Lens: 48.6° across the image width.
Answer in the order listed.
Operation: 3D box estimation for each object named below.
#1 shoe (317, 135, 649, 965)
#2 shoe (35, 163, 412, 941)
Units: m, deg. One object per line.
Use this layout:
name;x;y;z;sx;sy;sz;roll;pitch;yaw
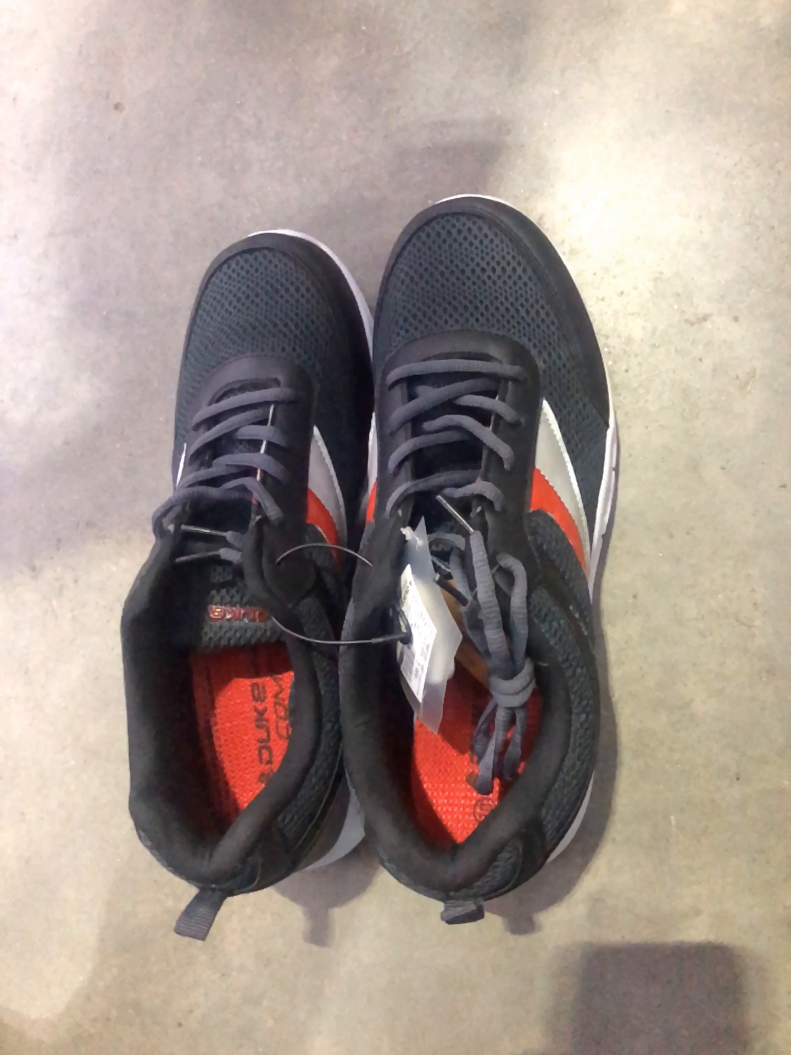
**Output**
shoe;0.039;0.007;0.347;0.110;0.100;0.270;-1;85;15
shoe;-0.067;0.011;0.365;0.110;0.100;0.270;-5;84;15
